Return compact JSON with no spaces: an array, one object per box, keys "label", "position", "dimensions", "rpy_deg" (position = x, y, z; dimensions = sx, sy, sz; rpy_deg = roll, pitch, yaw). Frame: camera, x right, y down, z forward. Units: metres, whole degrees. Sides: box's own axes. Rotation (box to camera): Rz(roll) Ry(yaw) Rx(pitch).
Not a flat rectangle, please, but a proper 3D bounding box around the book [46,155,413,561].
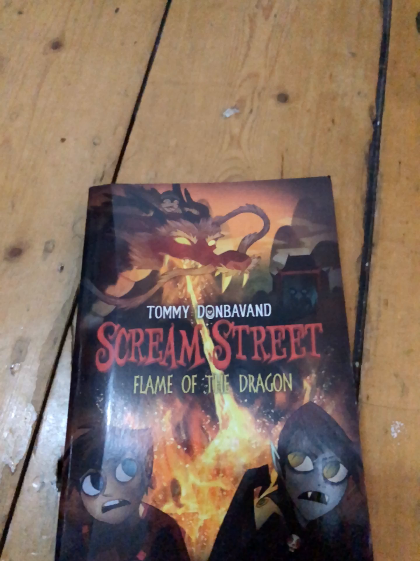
[{"label":"book","position":[0.005,0.039,0.220],"dimensions":[0.130,0.040,0.200],"rpy_deg":[-1,70,0]}]
